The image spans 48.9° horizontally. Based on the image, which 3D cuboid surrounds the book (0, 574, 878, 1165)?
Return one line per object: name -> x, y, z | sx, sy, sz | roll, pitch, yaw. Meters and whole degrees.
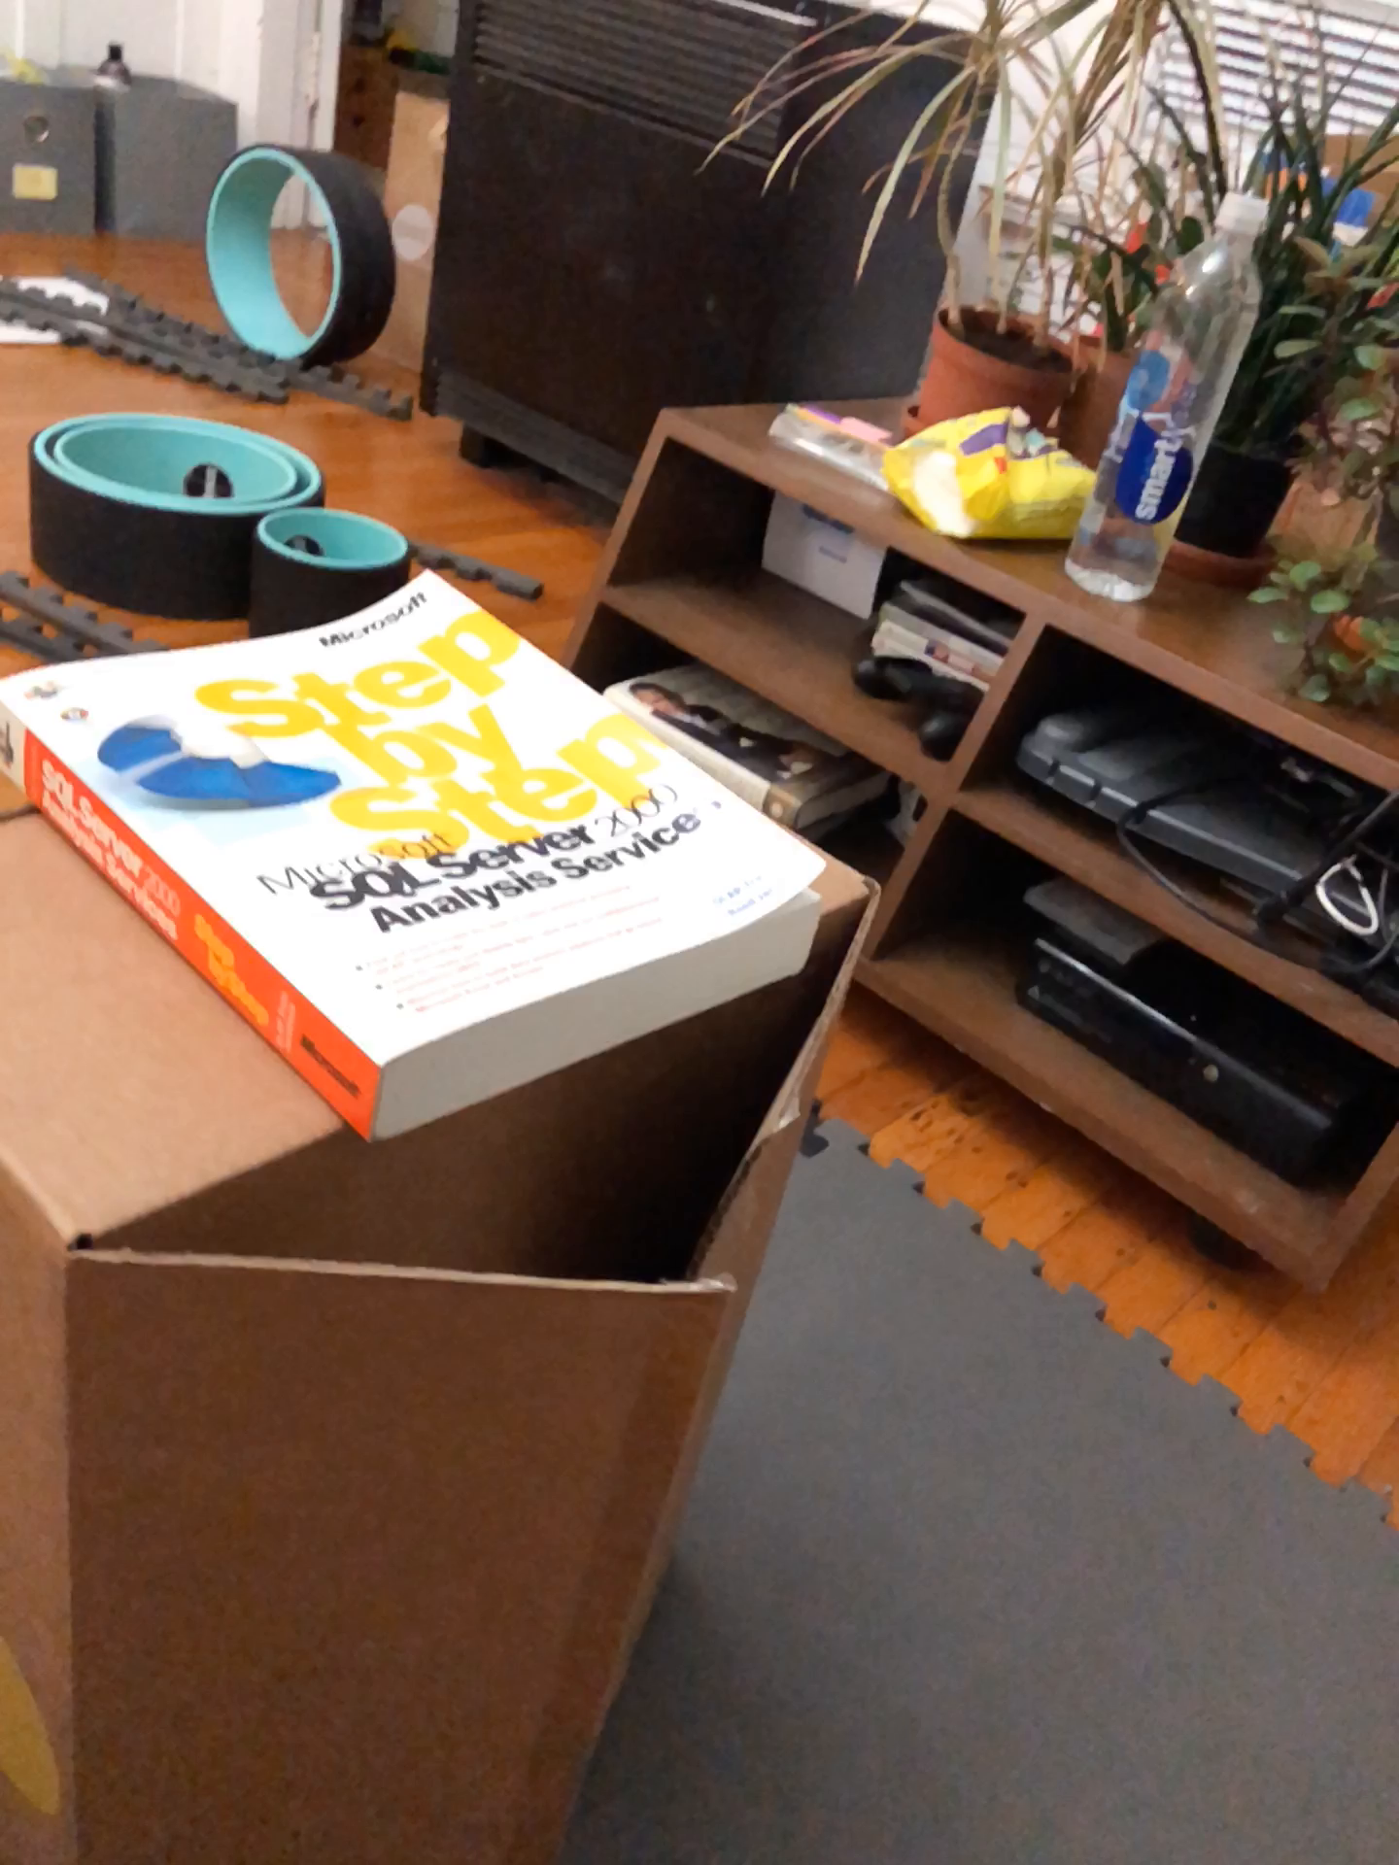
book -> -0.095, -0.044, 0.532 | 0.240, 0.050, 0.201 | 36, 35, 28
